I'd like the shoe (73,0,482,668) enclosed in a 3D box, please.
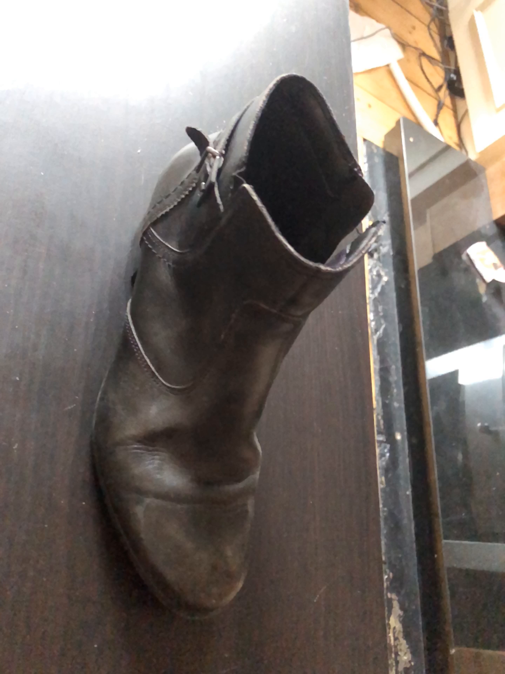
[{"bbox_3d":[-0.010,-0.003,0.284,0.090,0.169,0.271,12,64,-31],"label":"shoe"}]
